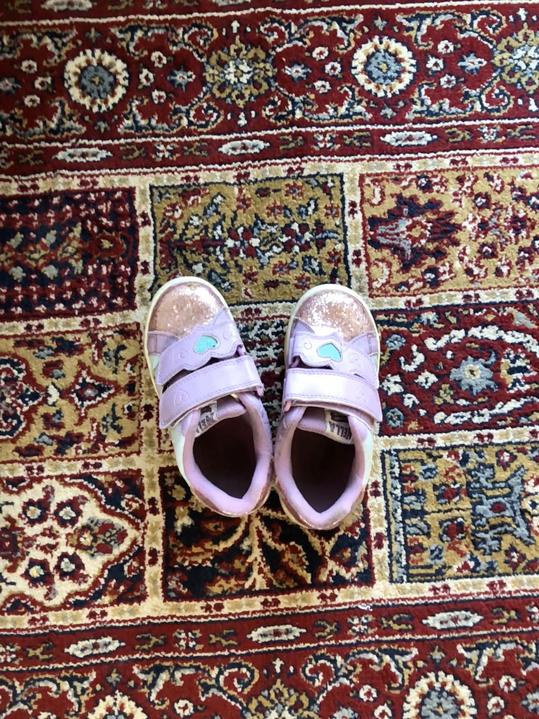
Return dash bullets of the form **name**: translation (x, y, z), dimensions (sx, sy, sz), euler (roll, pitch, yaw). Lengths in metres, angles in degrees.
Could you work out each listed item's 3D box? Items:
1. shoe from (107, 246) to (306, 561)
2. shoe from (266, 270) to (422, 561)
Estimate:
- **shoe**: translation (-0.047, 0.033, 0.472), dimensions (0.090, 0.090, 0.208), euler (-16, 85, -2)
- **shoe**: translation (0.054, 0.042, 0.469), dimensions (0.100, 0.090, 0.200), euler (4, 84, 0)
